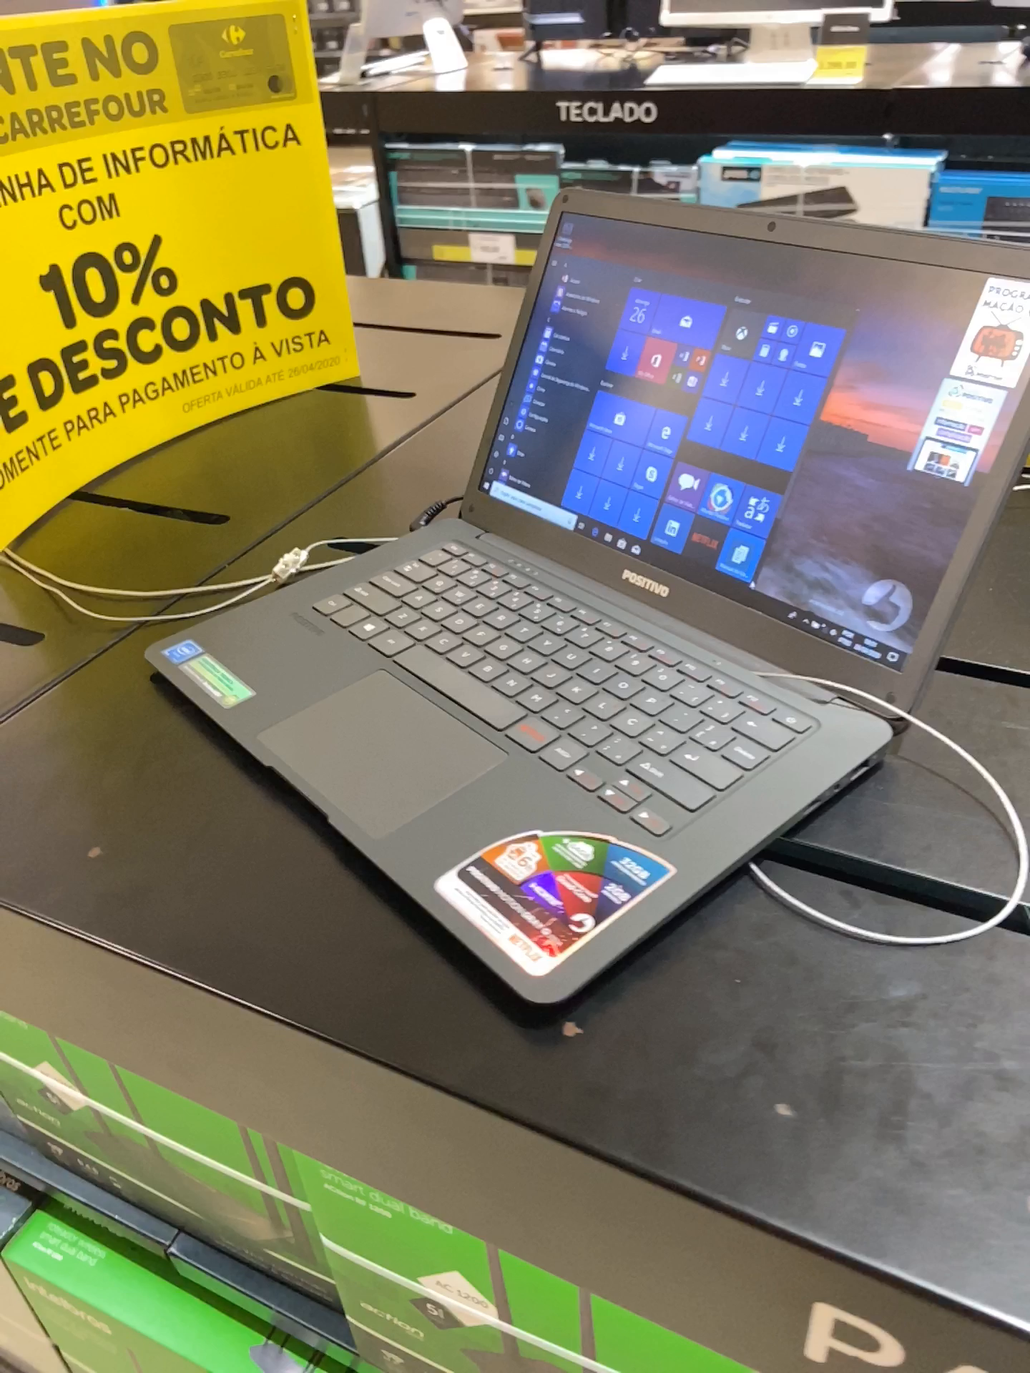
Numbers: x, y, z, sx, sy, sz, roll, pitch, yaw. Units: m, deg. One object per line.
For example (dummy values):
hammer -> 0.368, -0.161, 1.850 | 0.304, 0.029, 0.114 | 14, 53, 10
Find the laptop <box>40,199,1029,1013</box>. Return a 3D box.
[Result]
laptop -> 0.016, -0.083, 0.455 | 0.292, 0.159, 0.297 | -29, 41, -30
